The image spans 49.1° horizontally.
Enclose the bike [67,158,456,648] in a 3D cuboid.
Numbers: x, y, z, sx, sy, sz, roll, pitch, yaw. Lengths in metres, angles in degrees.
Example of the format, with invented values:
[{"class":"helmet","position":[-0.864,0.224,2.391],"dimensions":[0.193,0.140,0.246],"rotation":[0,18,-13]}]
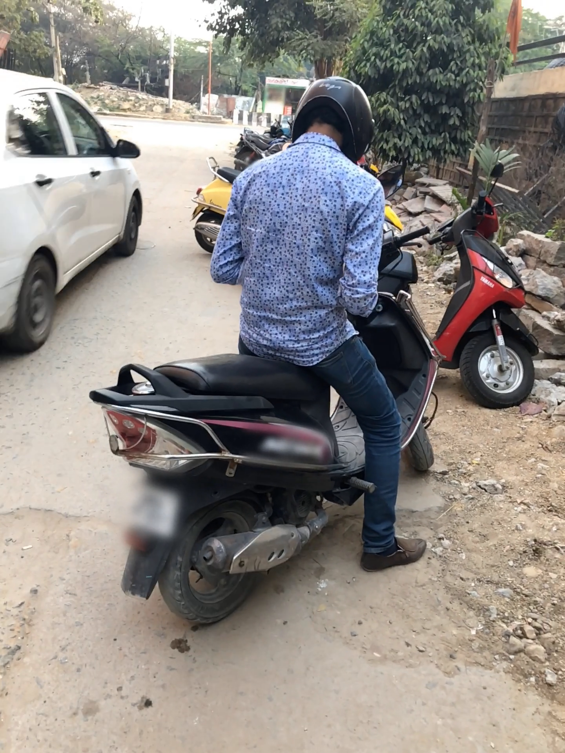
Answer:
[{"class":"bike","position":[0.008,-0.108,2.212],"dimensions":[0.560,1.055,1.479],"rotation":[18,29,28]}]
